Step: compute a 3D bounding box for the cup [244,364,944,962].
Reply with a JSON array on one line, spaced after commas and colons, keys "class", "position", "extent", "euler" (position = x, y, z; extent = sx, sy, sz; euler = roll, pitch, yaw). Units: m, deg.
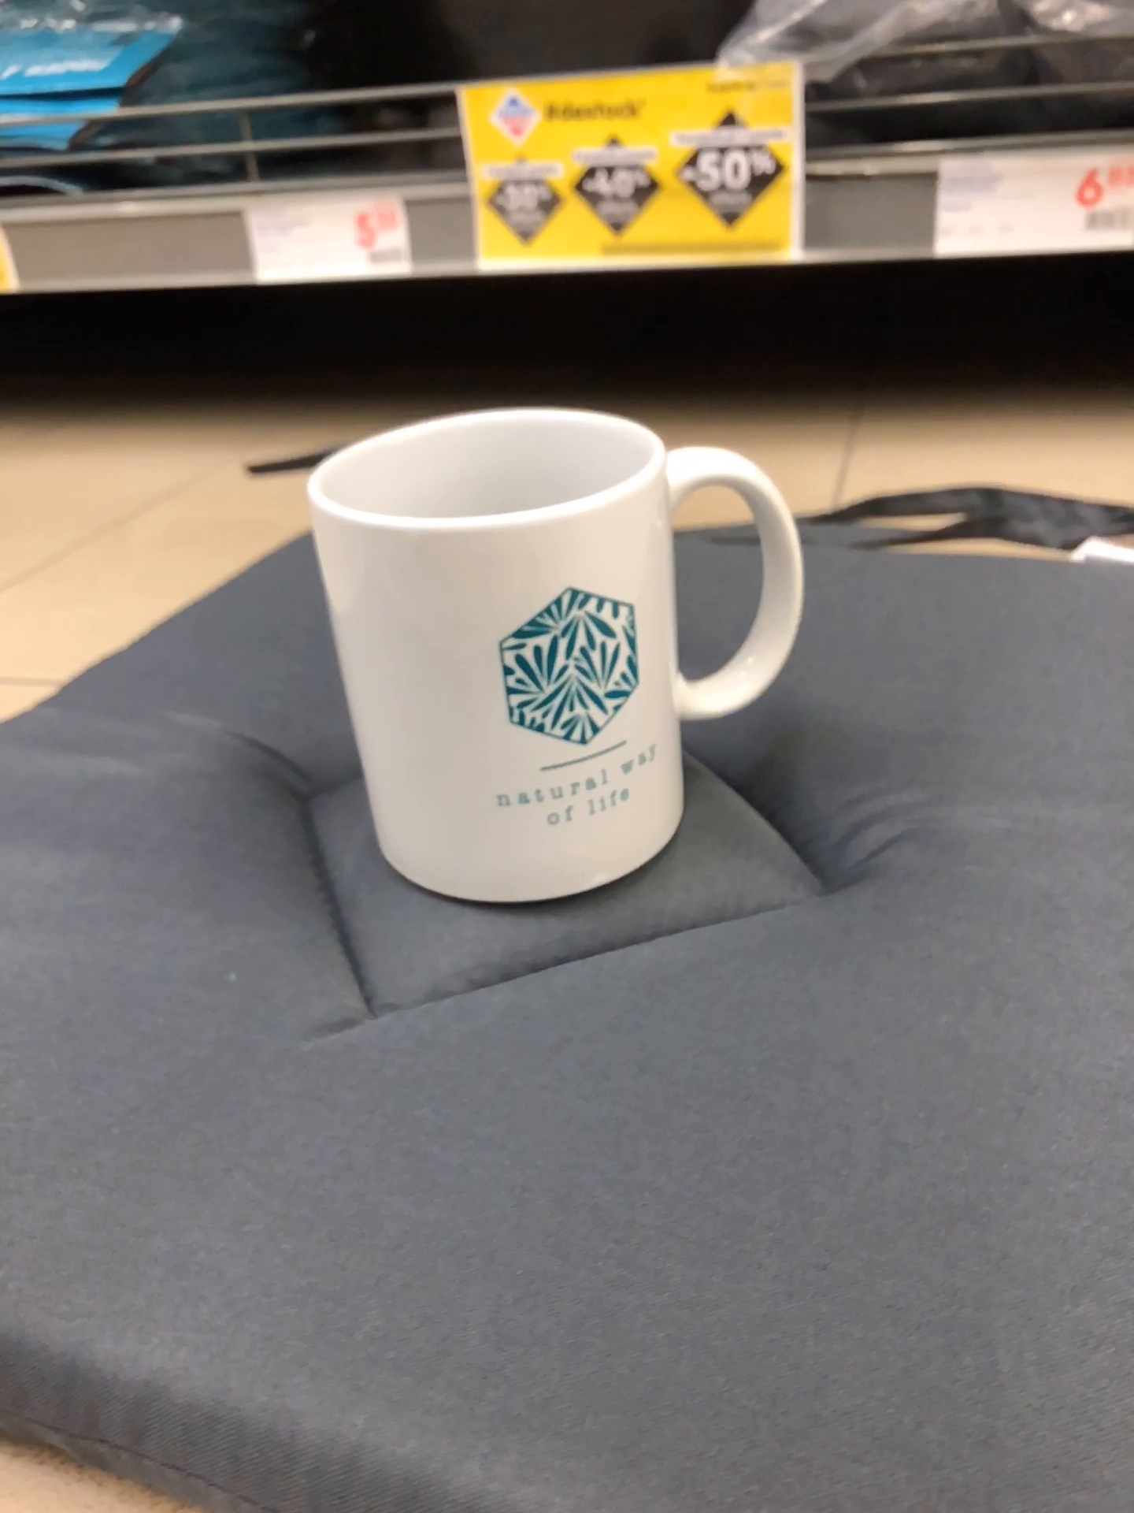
[{"class": "cup", "position": [0.004, -0.031, 0.301], "extent": [0.130, 0.090, 0.090], "euler": [-14, 29, -18]}]
